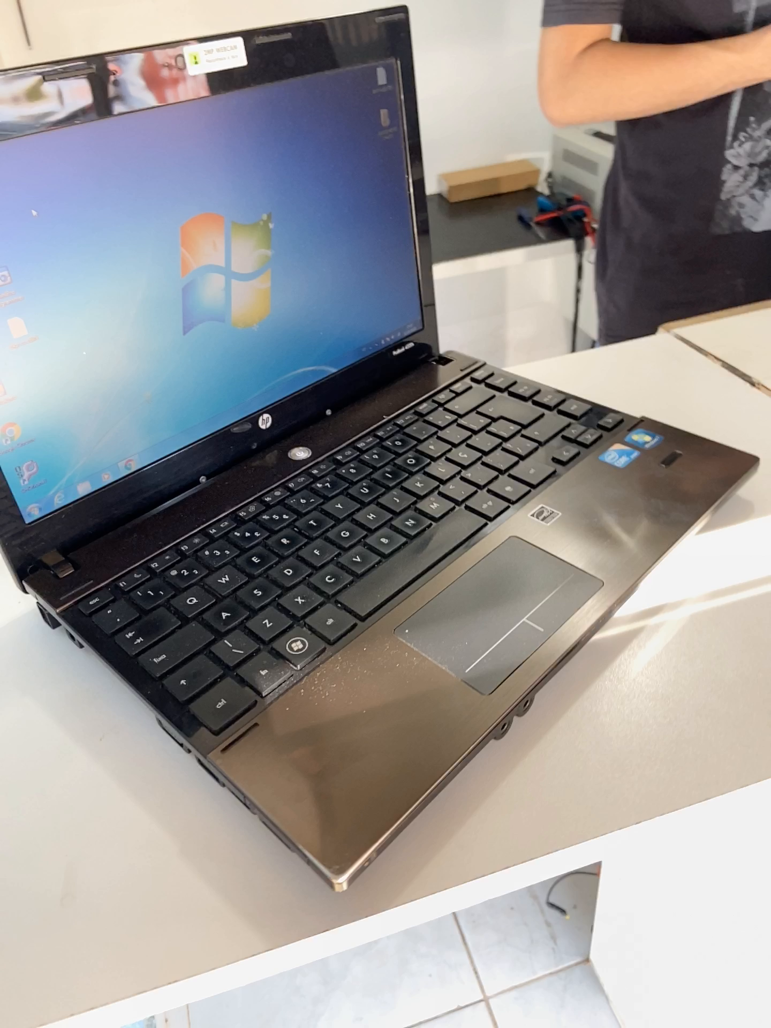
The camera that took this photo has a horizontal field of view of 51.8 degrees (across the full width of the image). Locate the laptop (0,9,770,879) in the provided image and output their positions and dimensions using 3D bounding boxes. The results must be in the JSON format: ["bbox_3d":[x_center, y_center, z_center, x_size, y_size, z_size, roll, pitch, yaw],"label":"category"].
[{"bbox_3d":[-0.008,-0.090,0.367,0.260,0.207,0.322,28,48,37],"label":"laptop"}]
